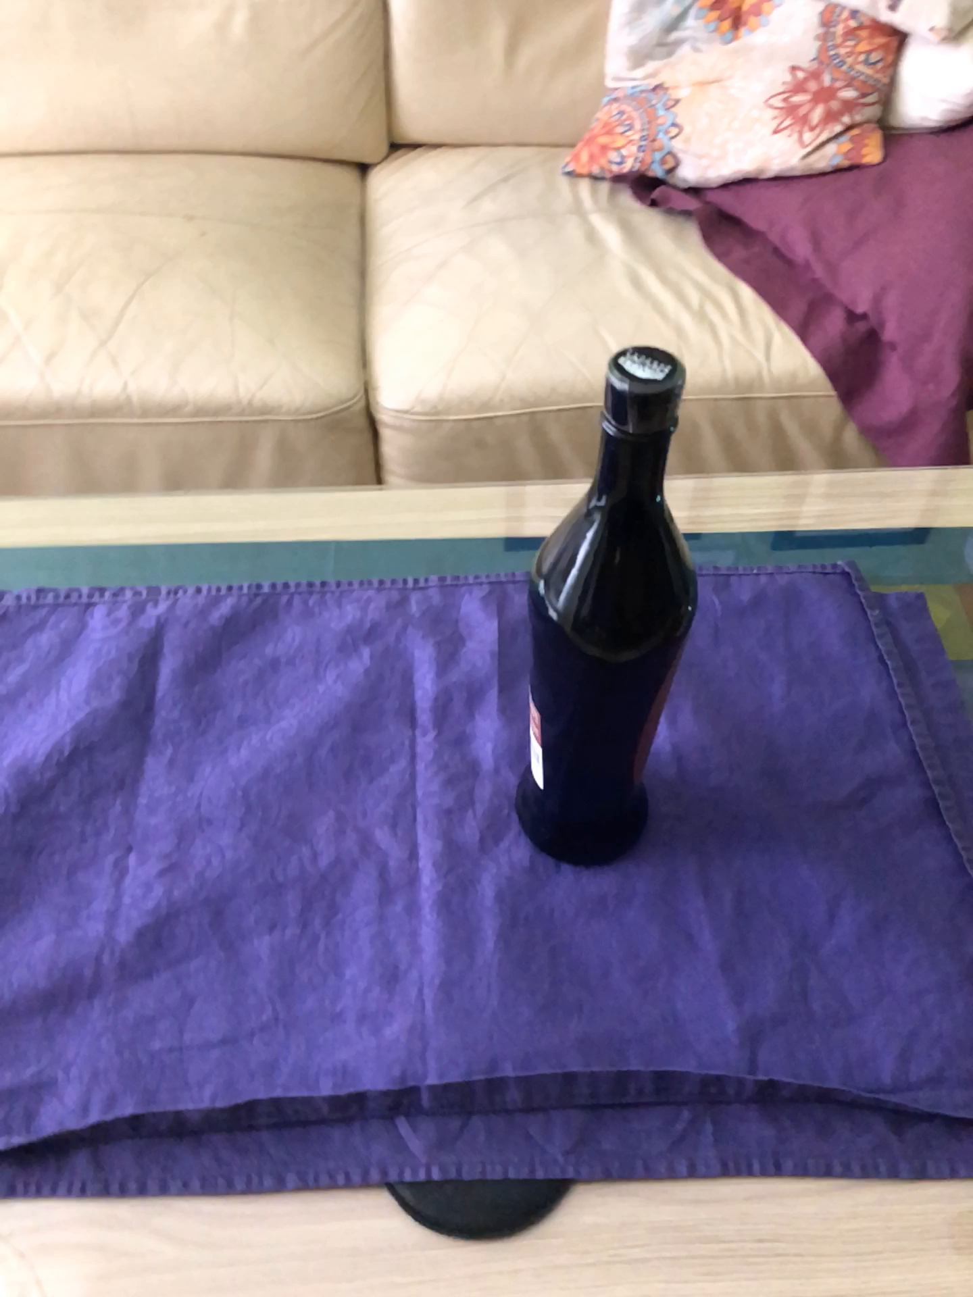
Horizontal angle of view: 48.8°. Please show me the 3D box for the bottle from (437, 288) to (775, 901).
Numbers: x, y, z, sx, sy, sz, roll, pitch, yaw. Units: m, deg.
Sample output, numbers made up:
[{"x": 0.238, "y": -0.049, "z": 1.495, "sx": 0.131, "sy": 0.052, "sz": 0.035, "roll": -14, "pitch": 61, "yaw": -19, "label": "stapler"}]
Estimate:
[{"x": 0.045, "y": -0.006, "z": 0.496, "sx": 0.100, "sy": 0.279, "sz": 0.100, "roll": 0, "pitch": 50, "yaw": 0, "label": "bottle"}]
